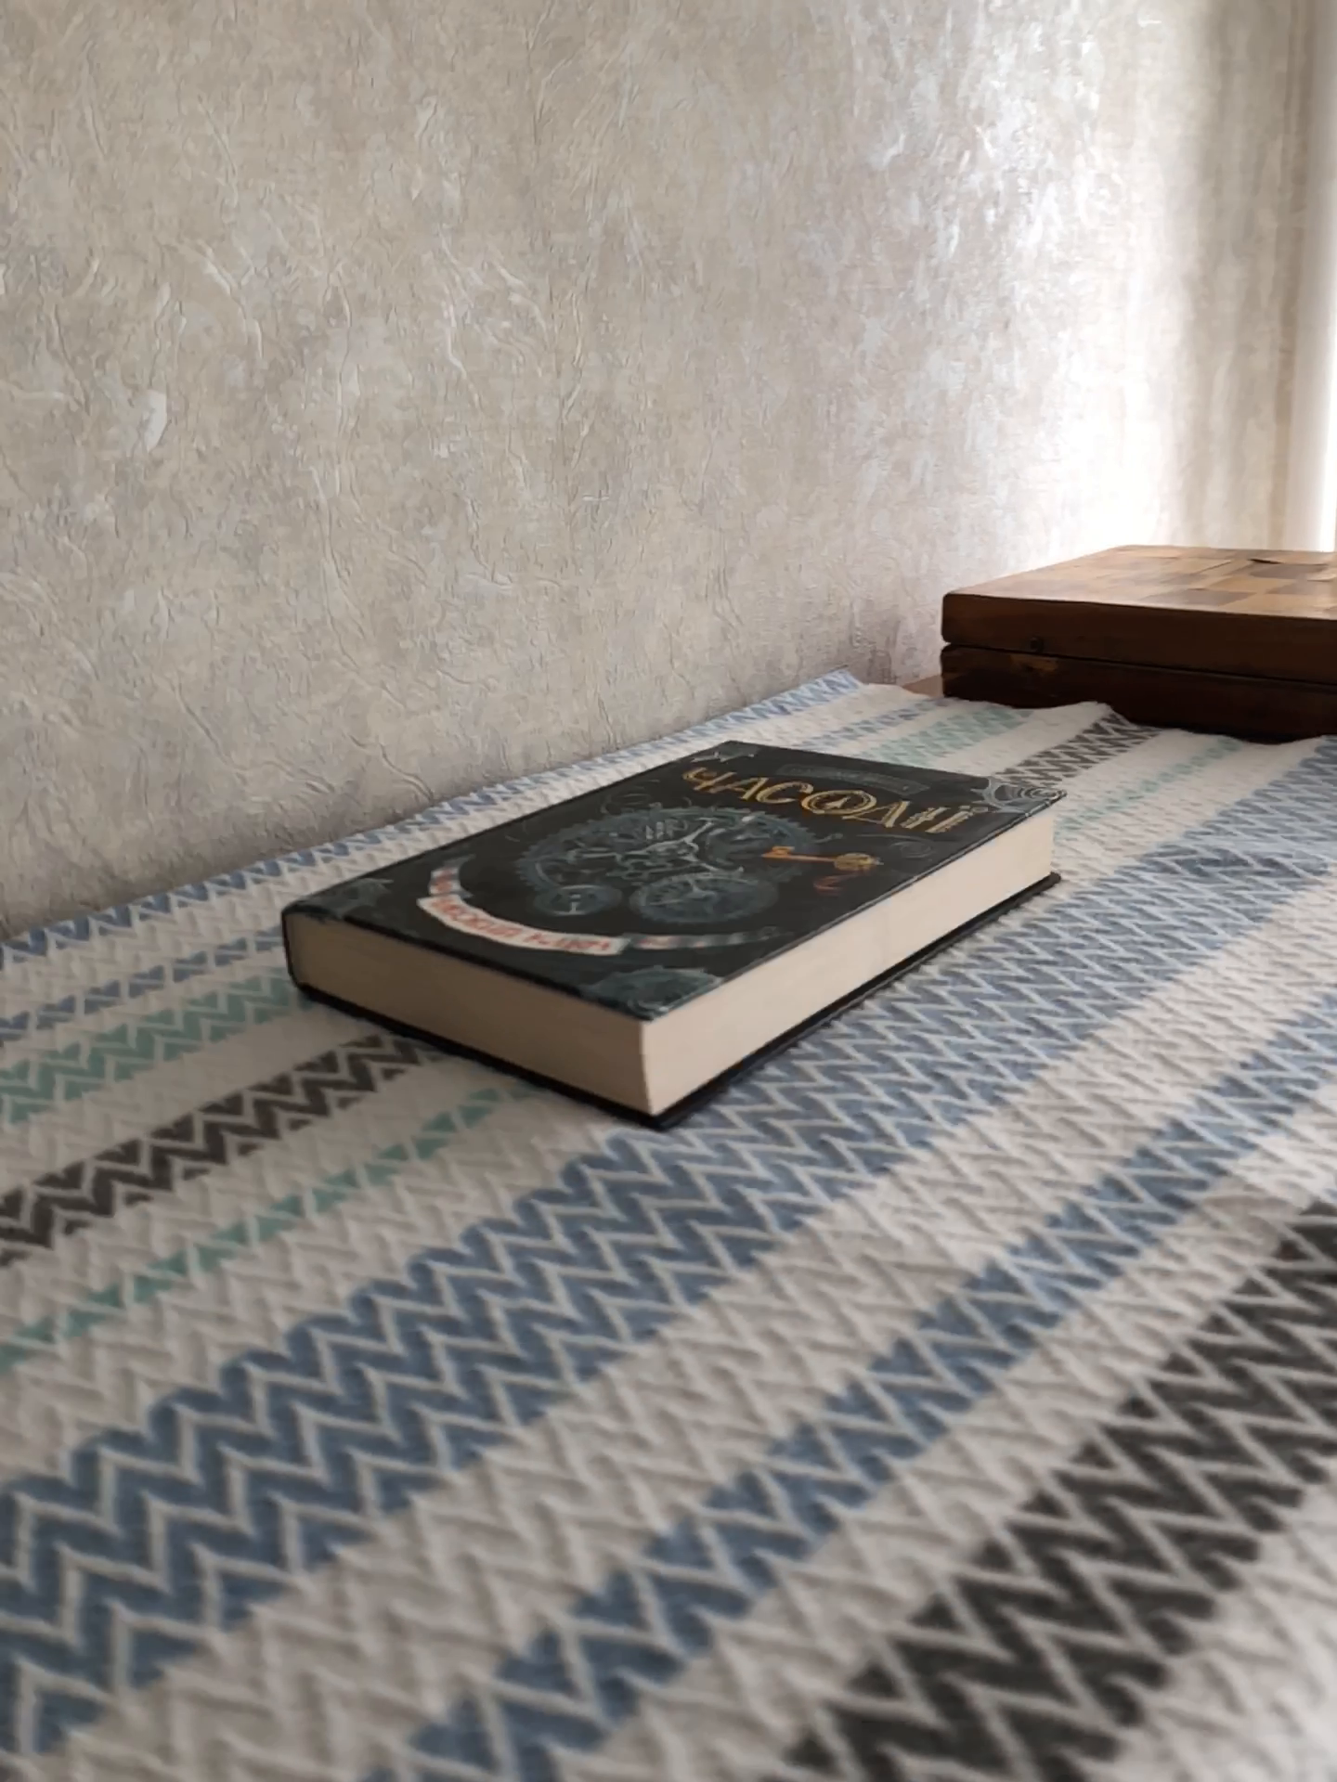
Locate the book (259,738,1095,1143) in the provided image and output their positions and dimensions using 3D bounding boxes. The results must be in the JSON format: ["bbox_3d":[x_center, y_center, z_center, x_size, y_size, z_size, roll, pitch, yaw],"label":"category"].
[{"bbox_3d":[0.011,-0.001,0.512,0.178,0.032,0.238,14,26,40],"label":"book"}]
